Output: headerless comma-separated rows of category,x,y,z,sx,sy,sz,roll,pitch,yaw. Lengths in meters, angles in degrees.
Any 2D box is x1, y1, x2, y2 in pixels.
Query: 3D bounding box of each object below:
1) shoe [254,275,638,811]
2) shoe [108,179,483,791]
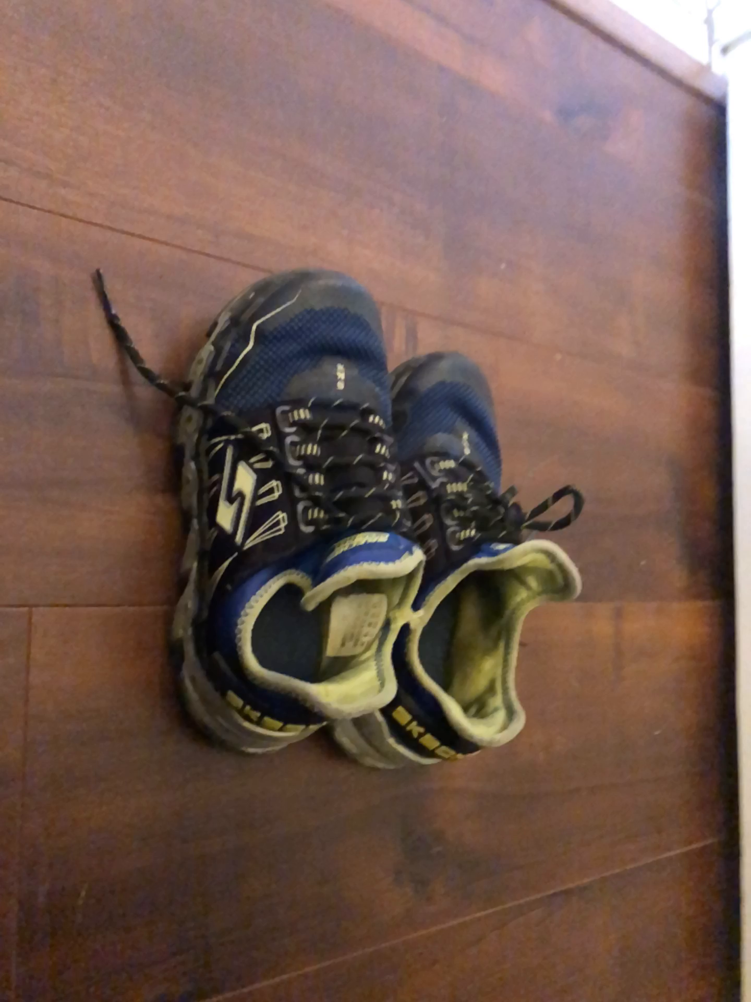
shoe,0.037,0.024,0.402,0.100,0.119,0.210,22,70,-33
shoe,-0.034,0.002,0.355,0.100,0.119,0.210,10,77,-36
